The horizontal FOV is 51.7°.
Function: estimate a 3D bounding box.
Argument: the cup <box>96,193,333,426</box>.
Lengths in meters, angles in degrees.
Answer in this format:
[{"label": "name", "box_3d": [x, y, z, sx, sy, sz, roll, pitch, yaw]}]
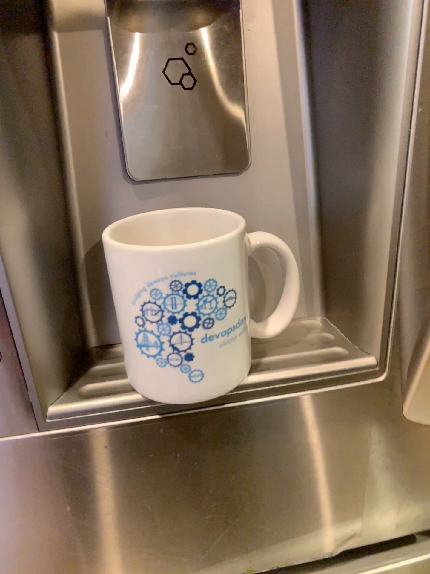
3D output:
[{"label": "cup", "box_3d": [-0.003, 0.006, 0.277, 0.120, 0.099, 0.081, -10, 25, -14]}]
